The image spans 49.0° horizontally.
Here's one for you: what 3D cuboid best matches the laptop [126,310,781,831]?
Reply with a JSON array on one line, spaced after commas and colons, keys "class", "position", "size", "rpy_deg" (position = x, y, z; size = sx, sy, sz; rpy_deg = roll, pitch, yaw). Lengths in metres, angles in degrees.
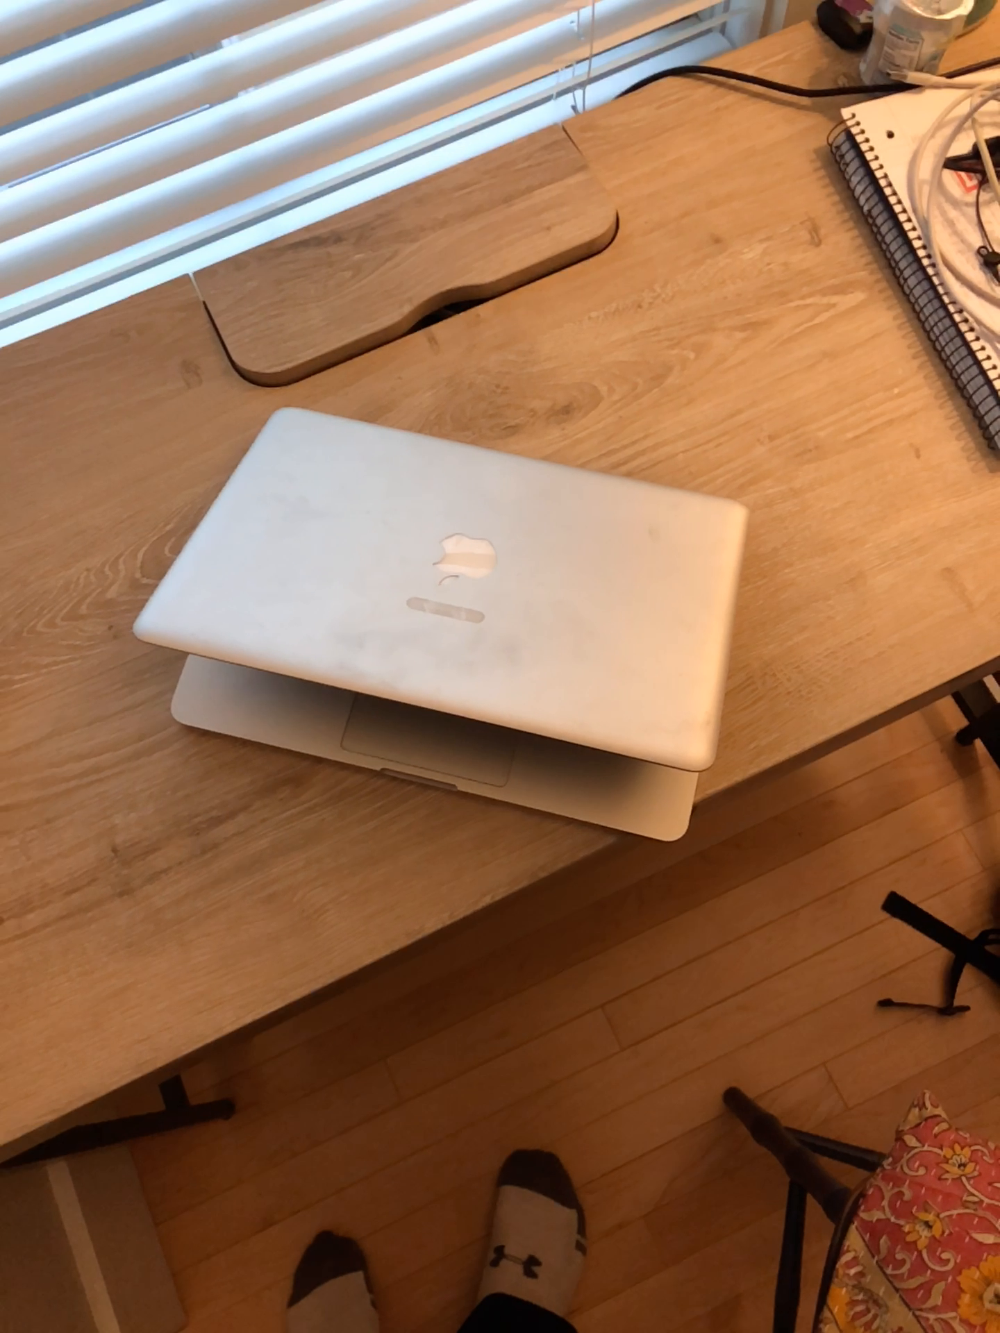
[{"class": "laptop", "position": [-0.019, -0.060, 0.650], "size": [0.318, 0.090, 0.229], "rpy_deg": [13, 71, 7]}]
